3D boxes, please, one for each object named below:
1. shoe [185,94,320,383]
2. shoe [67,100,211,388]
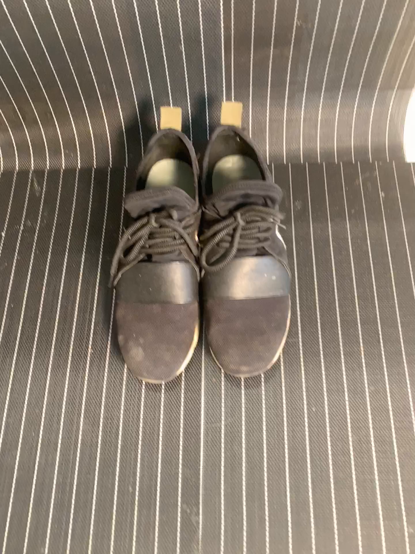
[{"bbox_3d":[0.037,-0.042,0.442,0.100,0.090,0.280,-4,69,2],"label":"shoe"},{"bbox_3d":[-0.056,-0.038,0.432,0.100,0.080,0.280,1,69,4],"label":"shoe"}]
